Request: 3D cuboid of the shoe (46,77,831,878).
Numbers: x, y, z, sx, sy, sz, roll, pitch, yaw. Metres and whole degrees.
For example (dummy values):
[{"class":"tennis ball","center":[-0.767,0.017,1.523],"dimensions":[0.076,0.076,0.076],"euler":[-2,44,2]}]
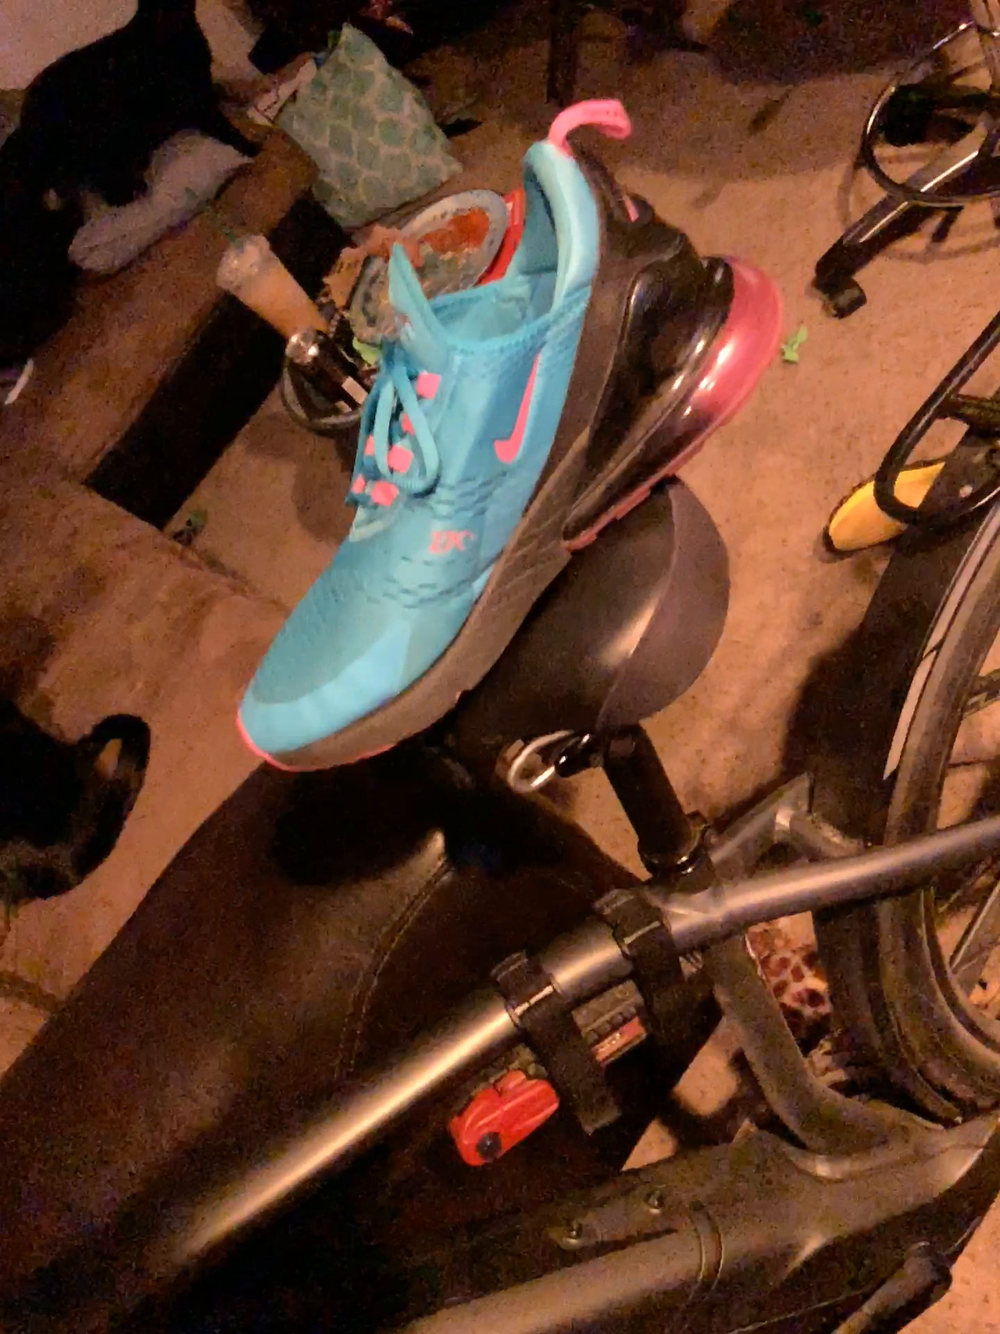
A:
[{"class":"shoe","center":[-0.031,-0.095,0.515],"dimensions":[0.330,0.130,0.150],"euler":[-50,42,-2]}]
